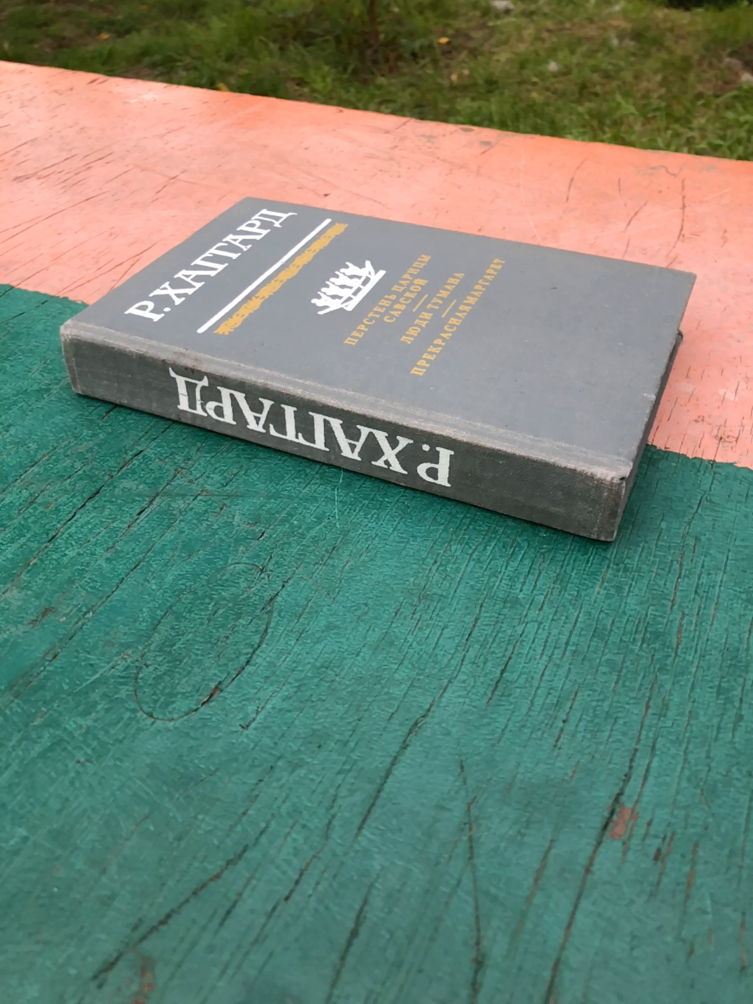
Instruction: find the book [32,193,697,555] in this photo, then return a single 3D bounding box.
[{"bbox_3d":[0.002,-0.069,0.341,0.222,0.030,0.151,16,44,18],"label":"book"}]
